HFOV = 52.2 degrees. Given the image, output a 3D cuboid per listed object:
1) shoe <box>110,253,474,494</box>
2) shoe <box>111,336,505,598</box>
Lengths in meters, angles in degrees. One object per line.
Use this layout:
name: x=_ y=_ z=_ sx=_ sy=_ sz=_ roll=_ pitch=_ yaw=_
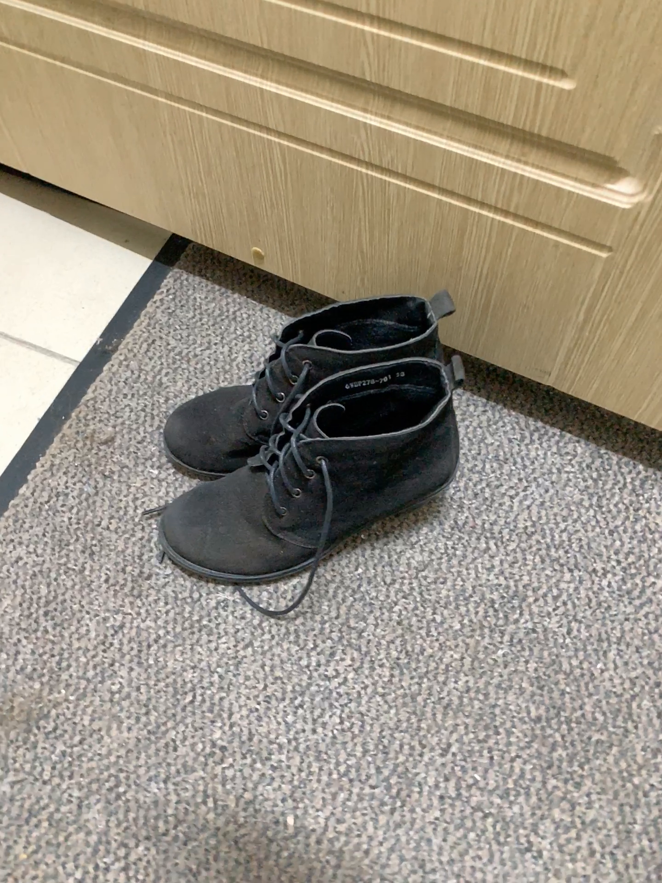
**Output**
shoe: x=-0.027 y=-0.044 z=0.513 sx=0.230 sy=0.160 sz=0.080 roll=-7 pitch=61 yaw=-3
shoe: x=-0.015 y=0.026 z=0.483 sx=0.230 sy=0.160 sz=0.080 roll=-11 pitch=61 yaw=-5
